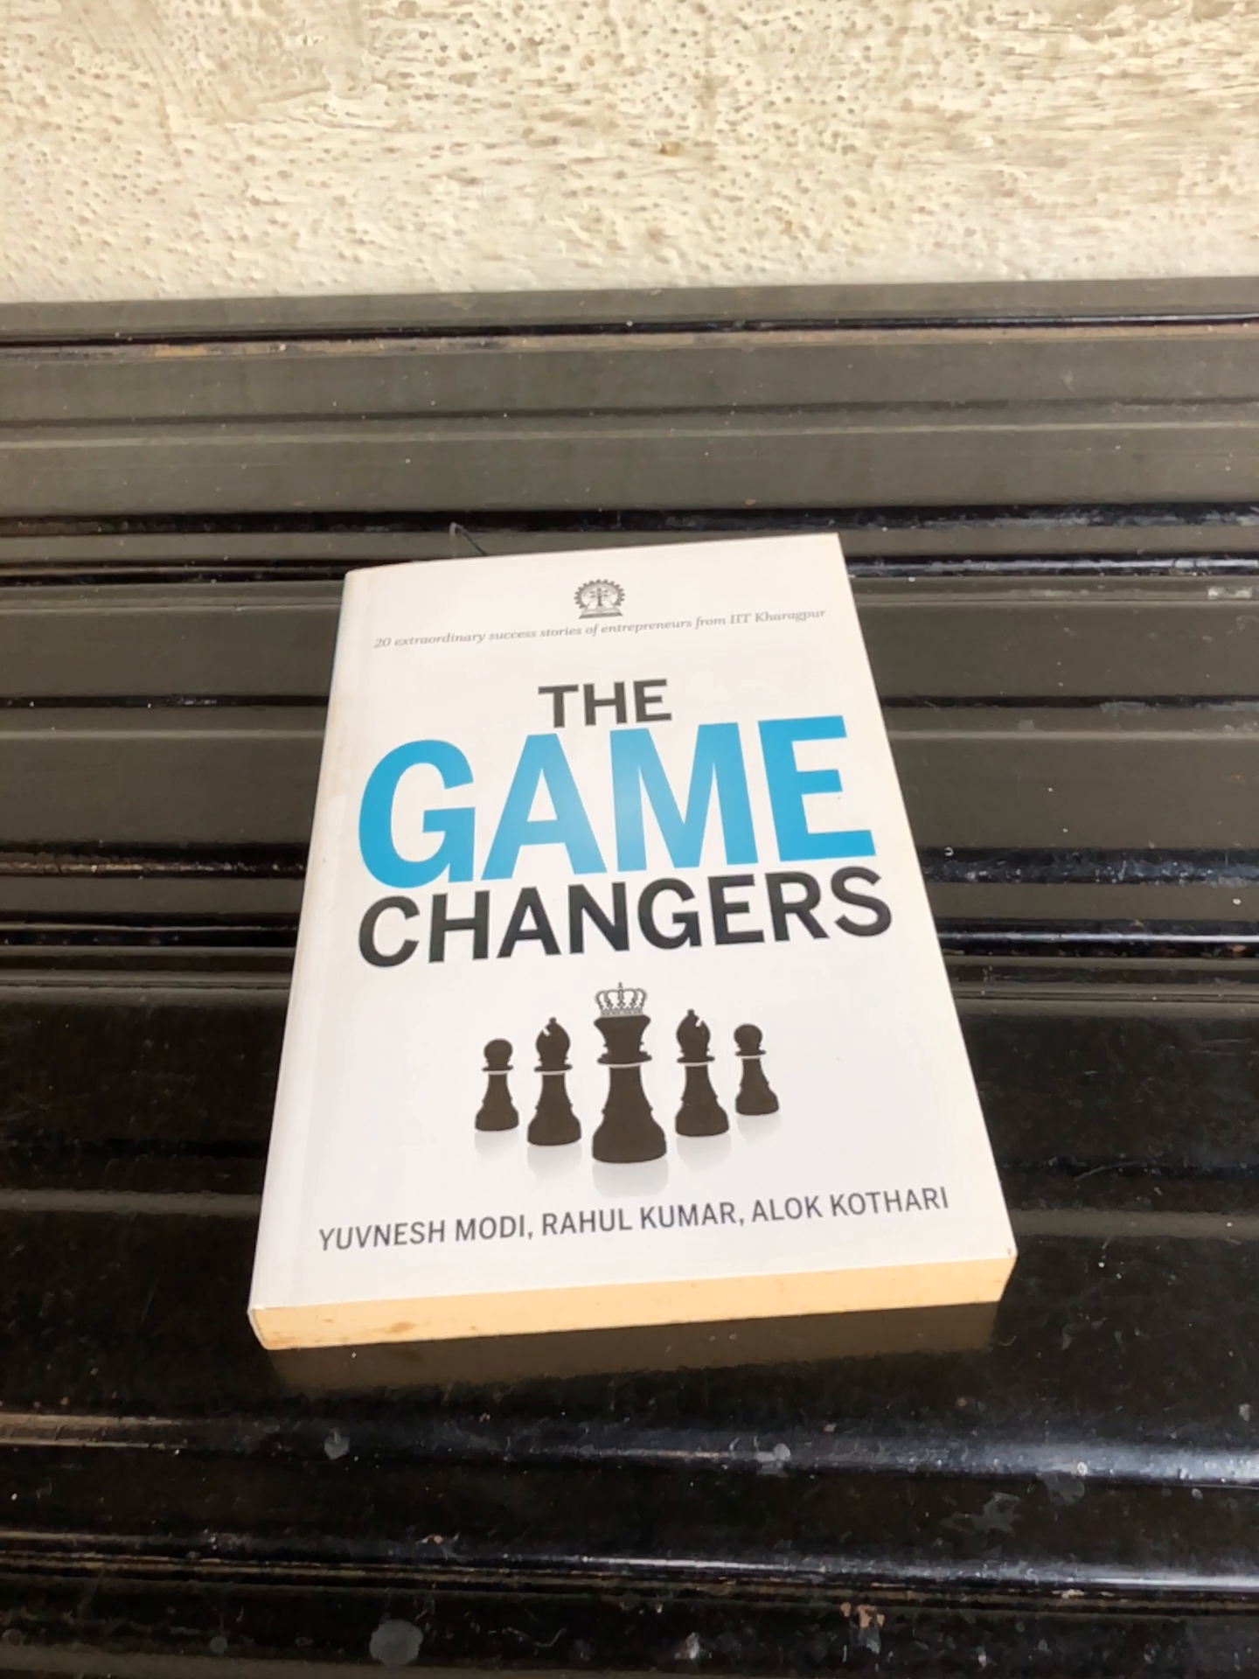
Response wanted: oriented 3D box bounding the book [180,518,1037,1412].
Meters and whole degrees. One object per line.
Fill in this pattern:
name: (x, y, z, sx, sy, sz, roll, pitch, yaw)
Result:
book: (-0.008, 0.009, 0.311, 0.140, 0.030, 0.211, -4, 48, 1)
